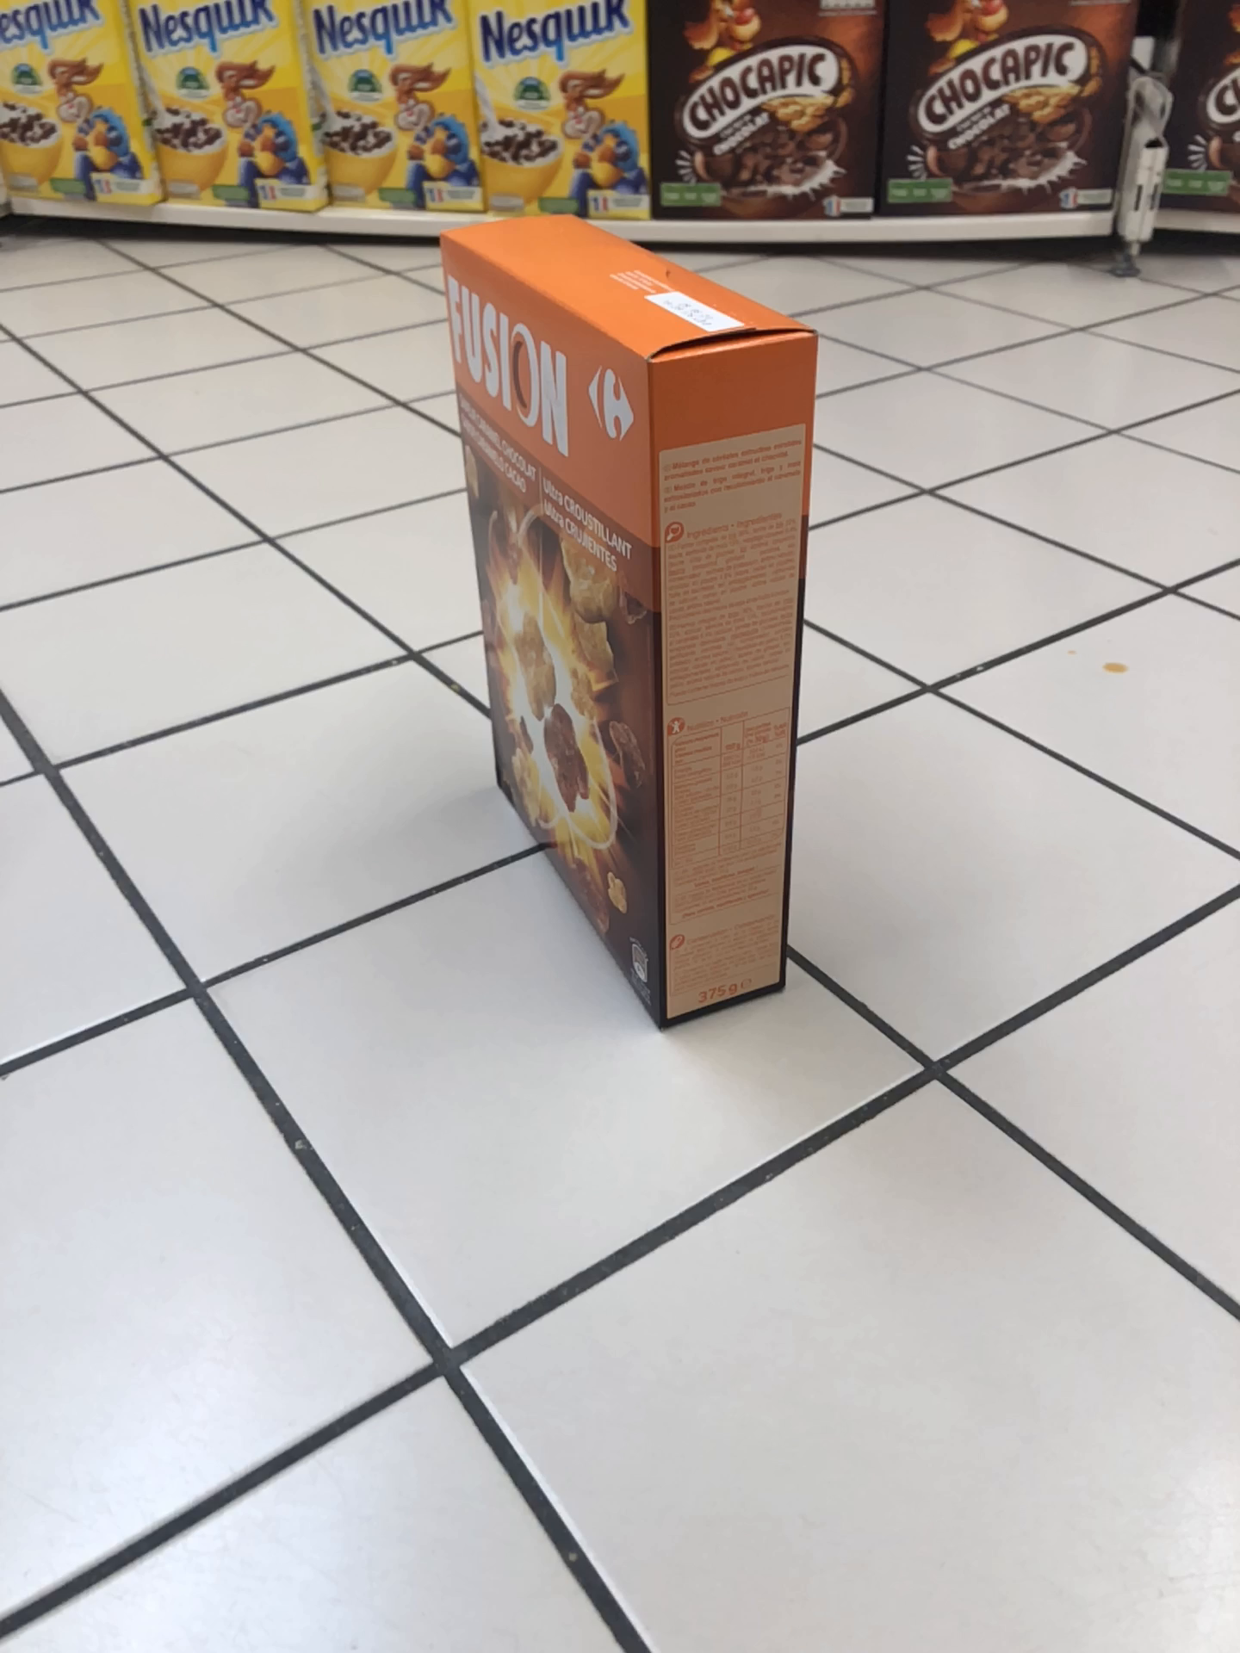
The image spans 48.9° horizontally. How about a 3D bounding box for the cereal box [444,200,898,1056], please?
[{"bbox_3d":[0.011,-0.080,0.510,0.070,0.249,0.201,-15,36,-17],"label":"cereal box"}]
